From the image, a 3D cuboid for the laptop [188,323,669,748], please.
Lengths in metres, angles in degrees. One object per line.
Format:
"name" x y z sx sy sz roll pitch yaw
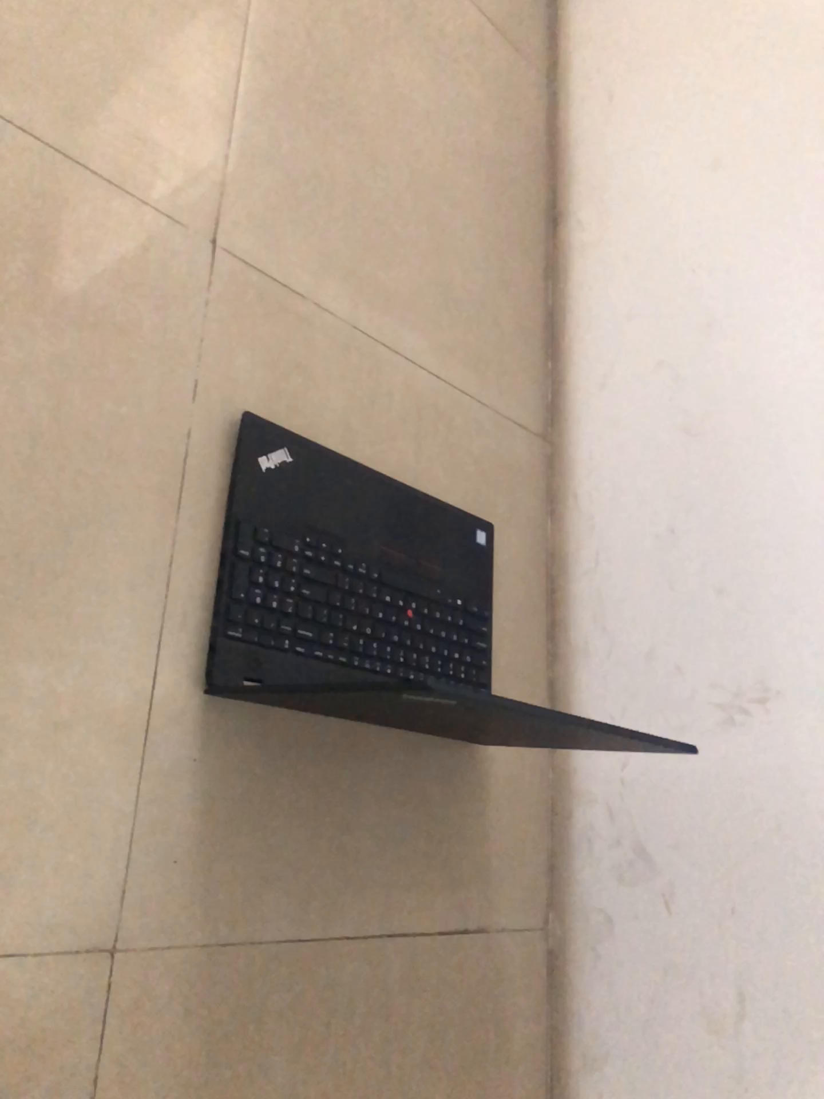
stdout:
"laptop" 0.036 0.026 0.809 0.355 0.240 0.255 22 64 -44
